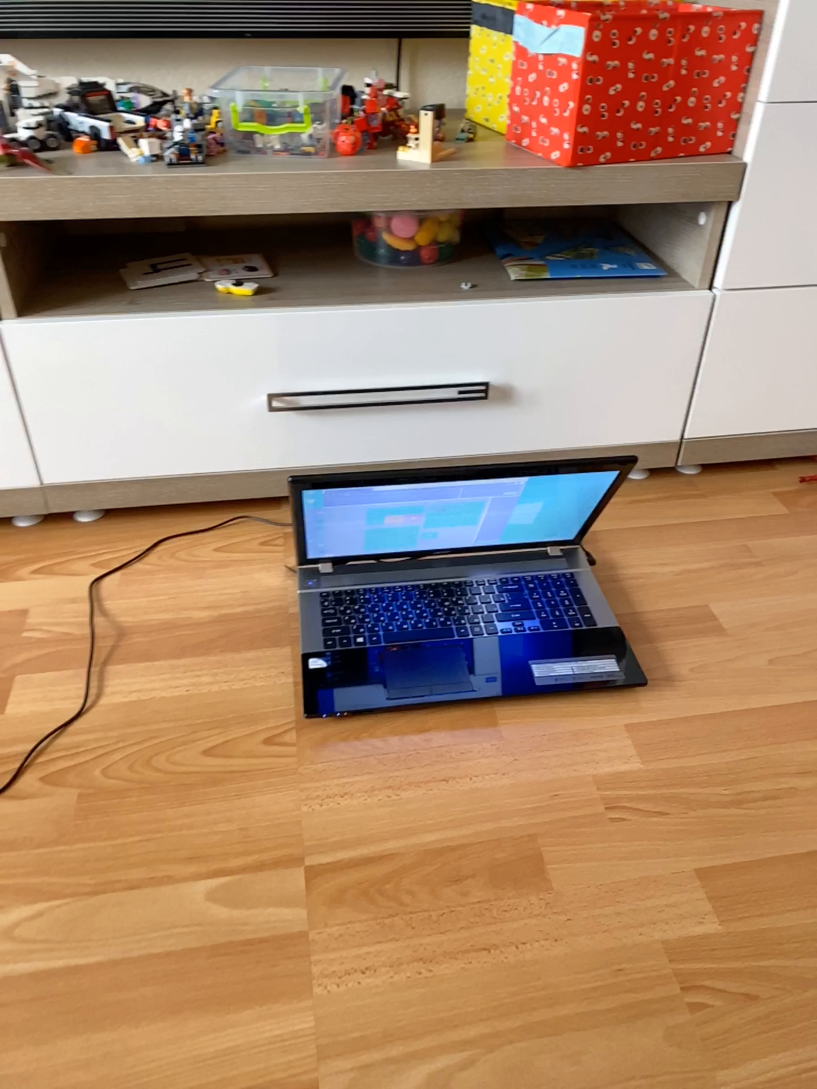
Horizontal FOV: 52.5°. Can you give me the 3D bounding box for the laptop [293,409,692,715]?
[{"bbox_3d":[0.073,0.009,1.015,0.412,0.233,0.270,-4,35,-7],"label":"laptop"}]
